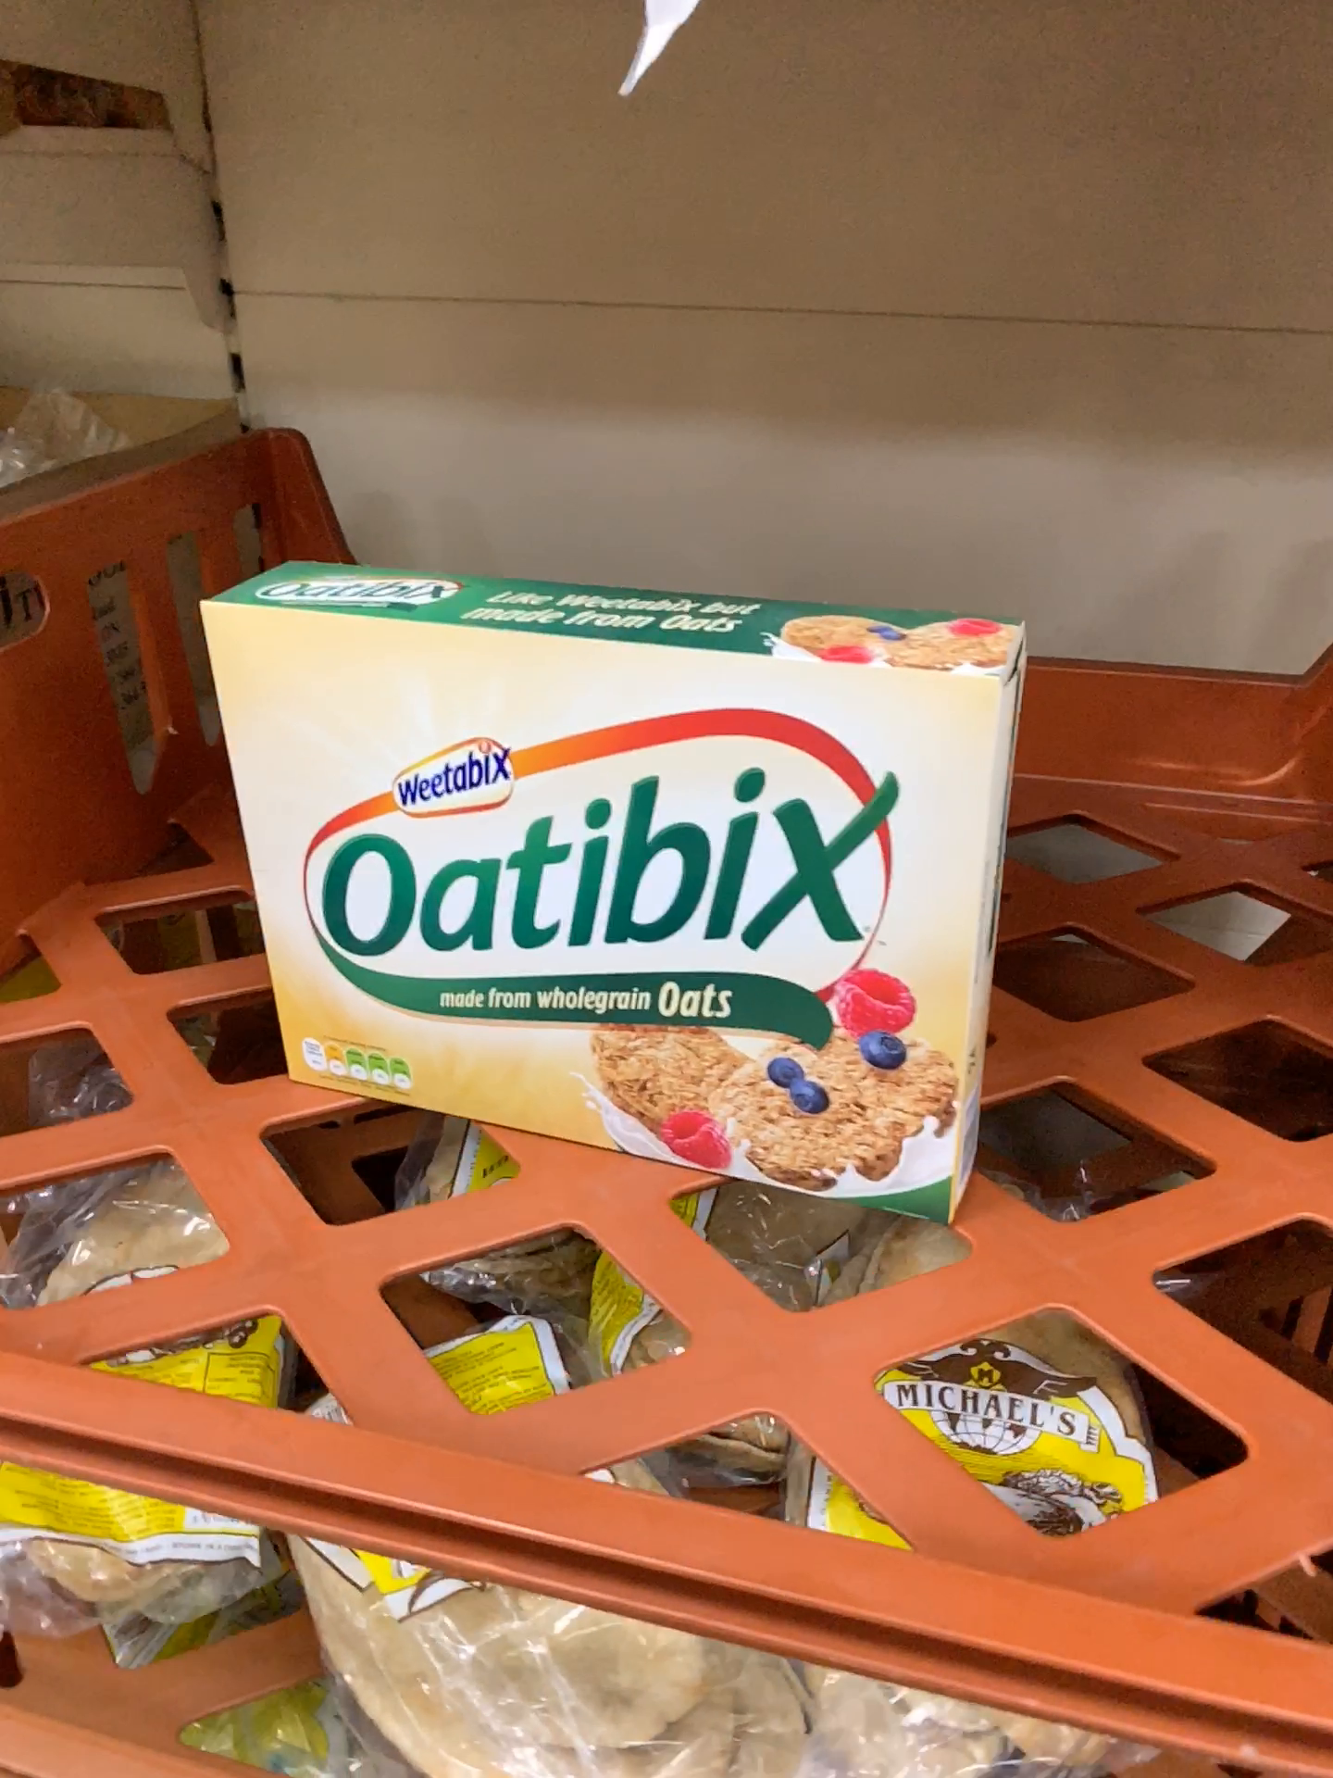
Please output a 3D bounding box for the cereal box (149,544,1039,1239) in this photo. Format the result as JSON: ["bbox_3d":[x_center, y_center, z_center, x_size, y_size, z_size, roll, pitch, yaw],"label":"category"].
[{"bbox_3d":[-0.024,-0.006,0.450,0.260,0.178,0.071,9,28,18],"label":"cereal box"}]
